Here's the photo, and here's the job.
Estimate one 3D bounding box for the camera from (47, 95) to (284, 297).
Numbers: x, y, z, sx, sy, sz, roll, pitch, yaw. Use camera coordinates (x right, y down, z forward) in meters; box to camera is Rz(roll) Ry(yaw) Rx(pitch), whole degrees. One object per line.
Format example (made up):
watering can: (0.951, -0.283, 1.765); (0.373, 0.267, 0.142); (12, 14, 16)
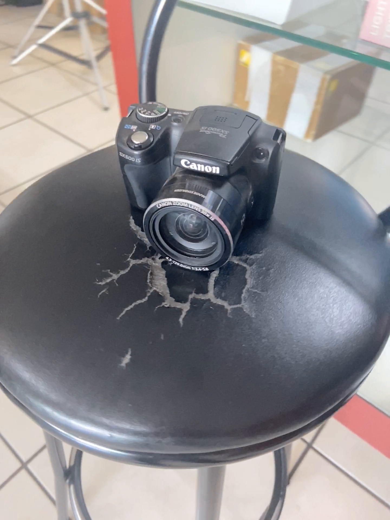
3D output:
camera: (-0.011, -0.044, 0.255); (0.110, 0.070, 0.091); (12, 47, 13)
